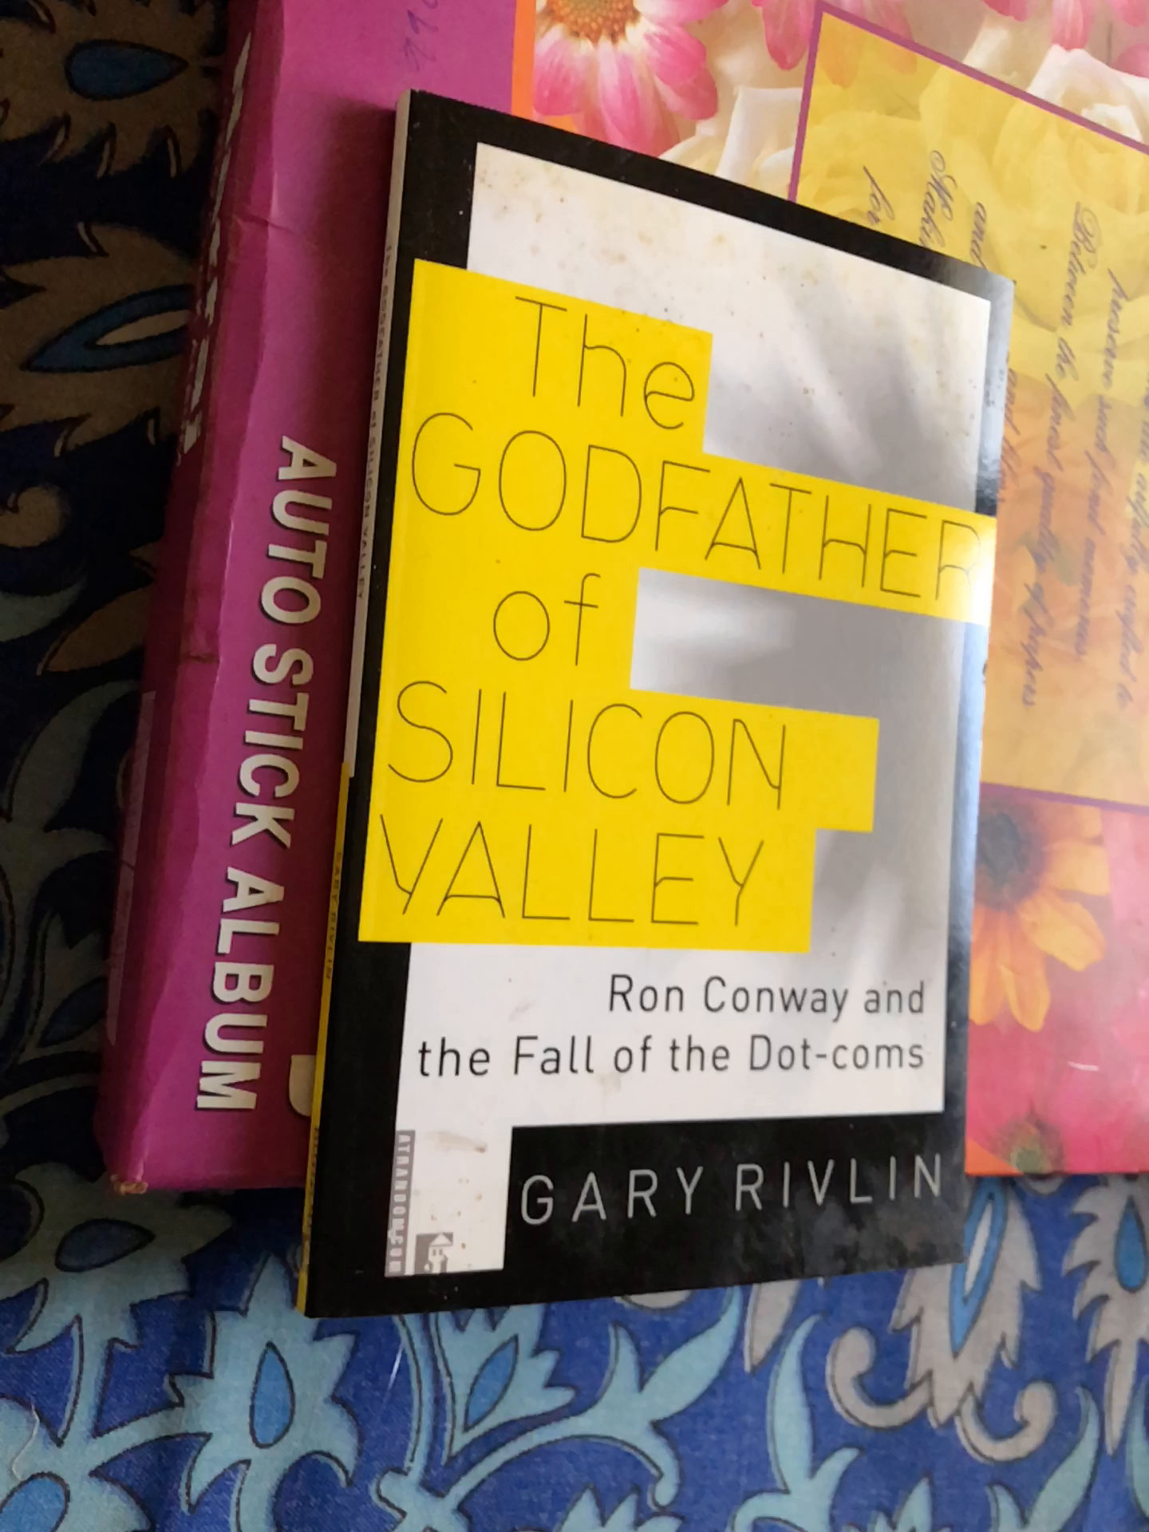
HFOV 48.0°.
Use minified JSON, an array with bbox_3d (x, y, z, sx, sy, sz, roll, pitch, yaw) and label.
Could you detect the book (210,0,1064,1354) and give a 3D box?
[{"bbox_3d":[0.020,-0.009,0.248,0.151,0.020,0.220,6,89,-25],"label":"book"}]
